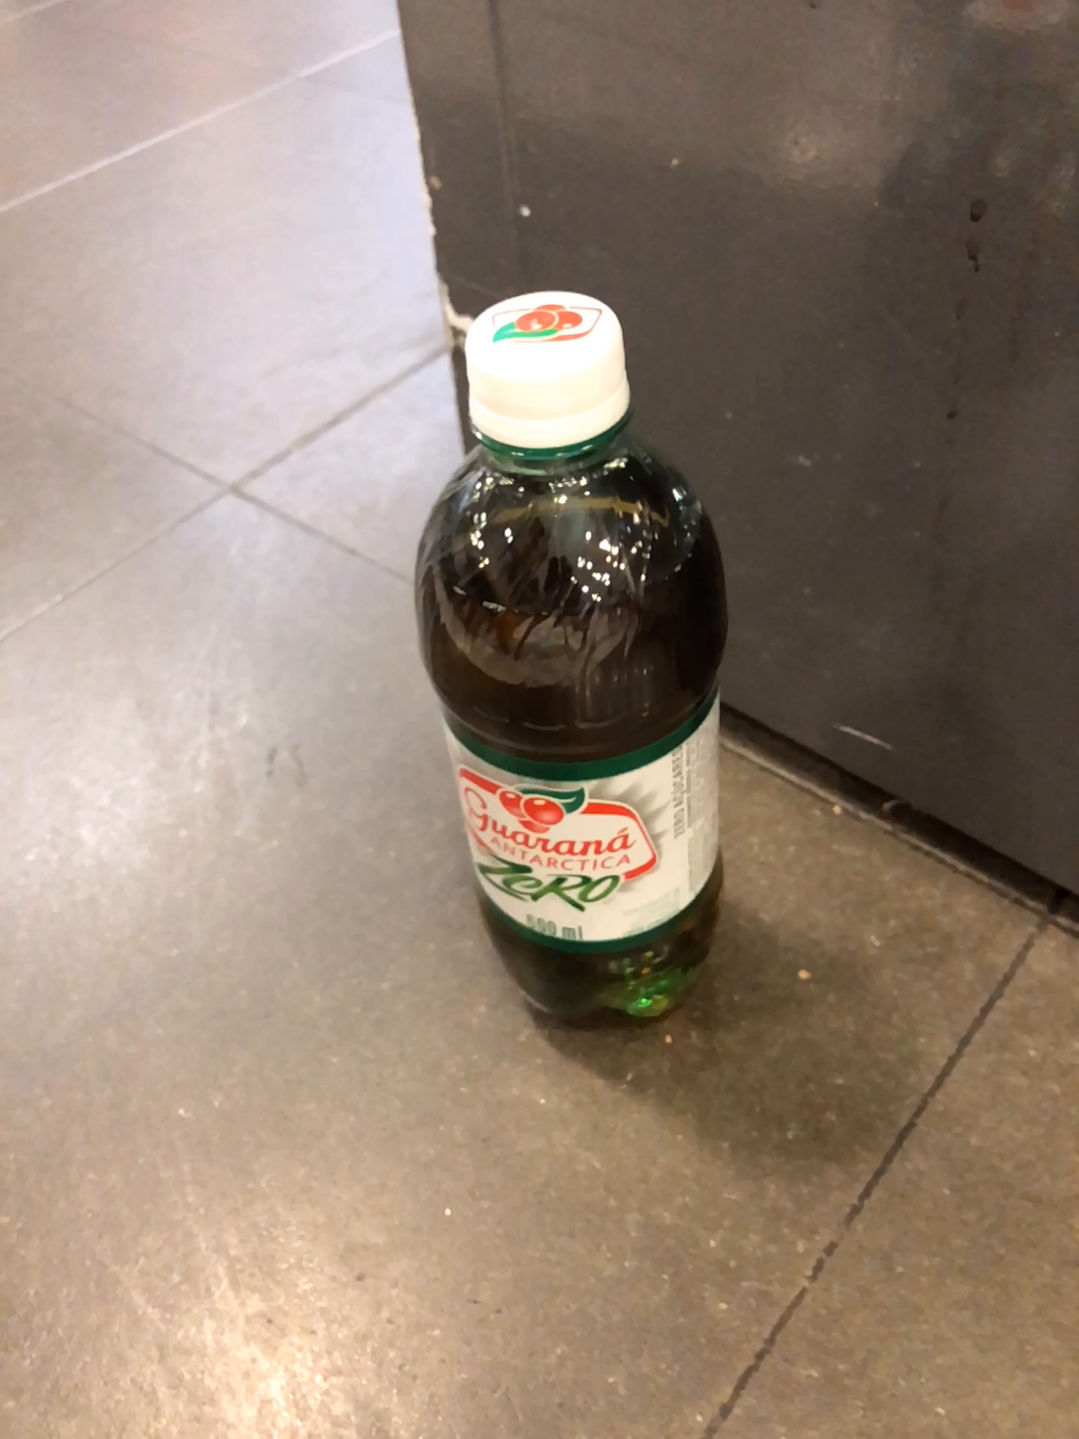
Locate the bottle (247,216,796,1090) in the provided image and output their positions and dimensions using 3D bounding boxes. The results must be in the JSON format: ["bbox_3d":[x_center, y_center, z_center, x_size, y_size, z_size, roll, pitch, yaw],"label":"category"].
[{"bbox_3d":[0.006,-0.003,0.303,0.080,0.209,0.070,19,51,23],"label":"bottle"}]
